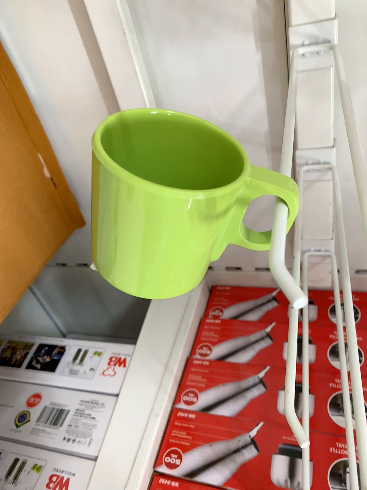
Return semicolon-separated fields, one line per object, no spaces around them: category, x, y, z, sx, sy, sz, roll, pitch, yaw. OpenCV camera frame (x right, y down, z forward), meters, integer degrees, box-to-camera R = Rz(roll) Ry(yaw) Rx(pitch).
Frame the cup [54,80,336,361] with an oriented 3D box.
cup;0.005;-0.015;0.207;0.100;0.110;0.080;-76;-177;-45
